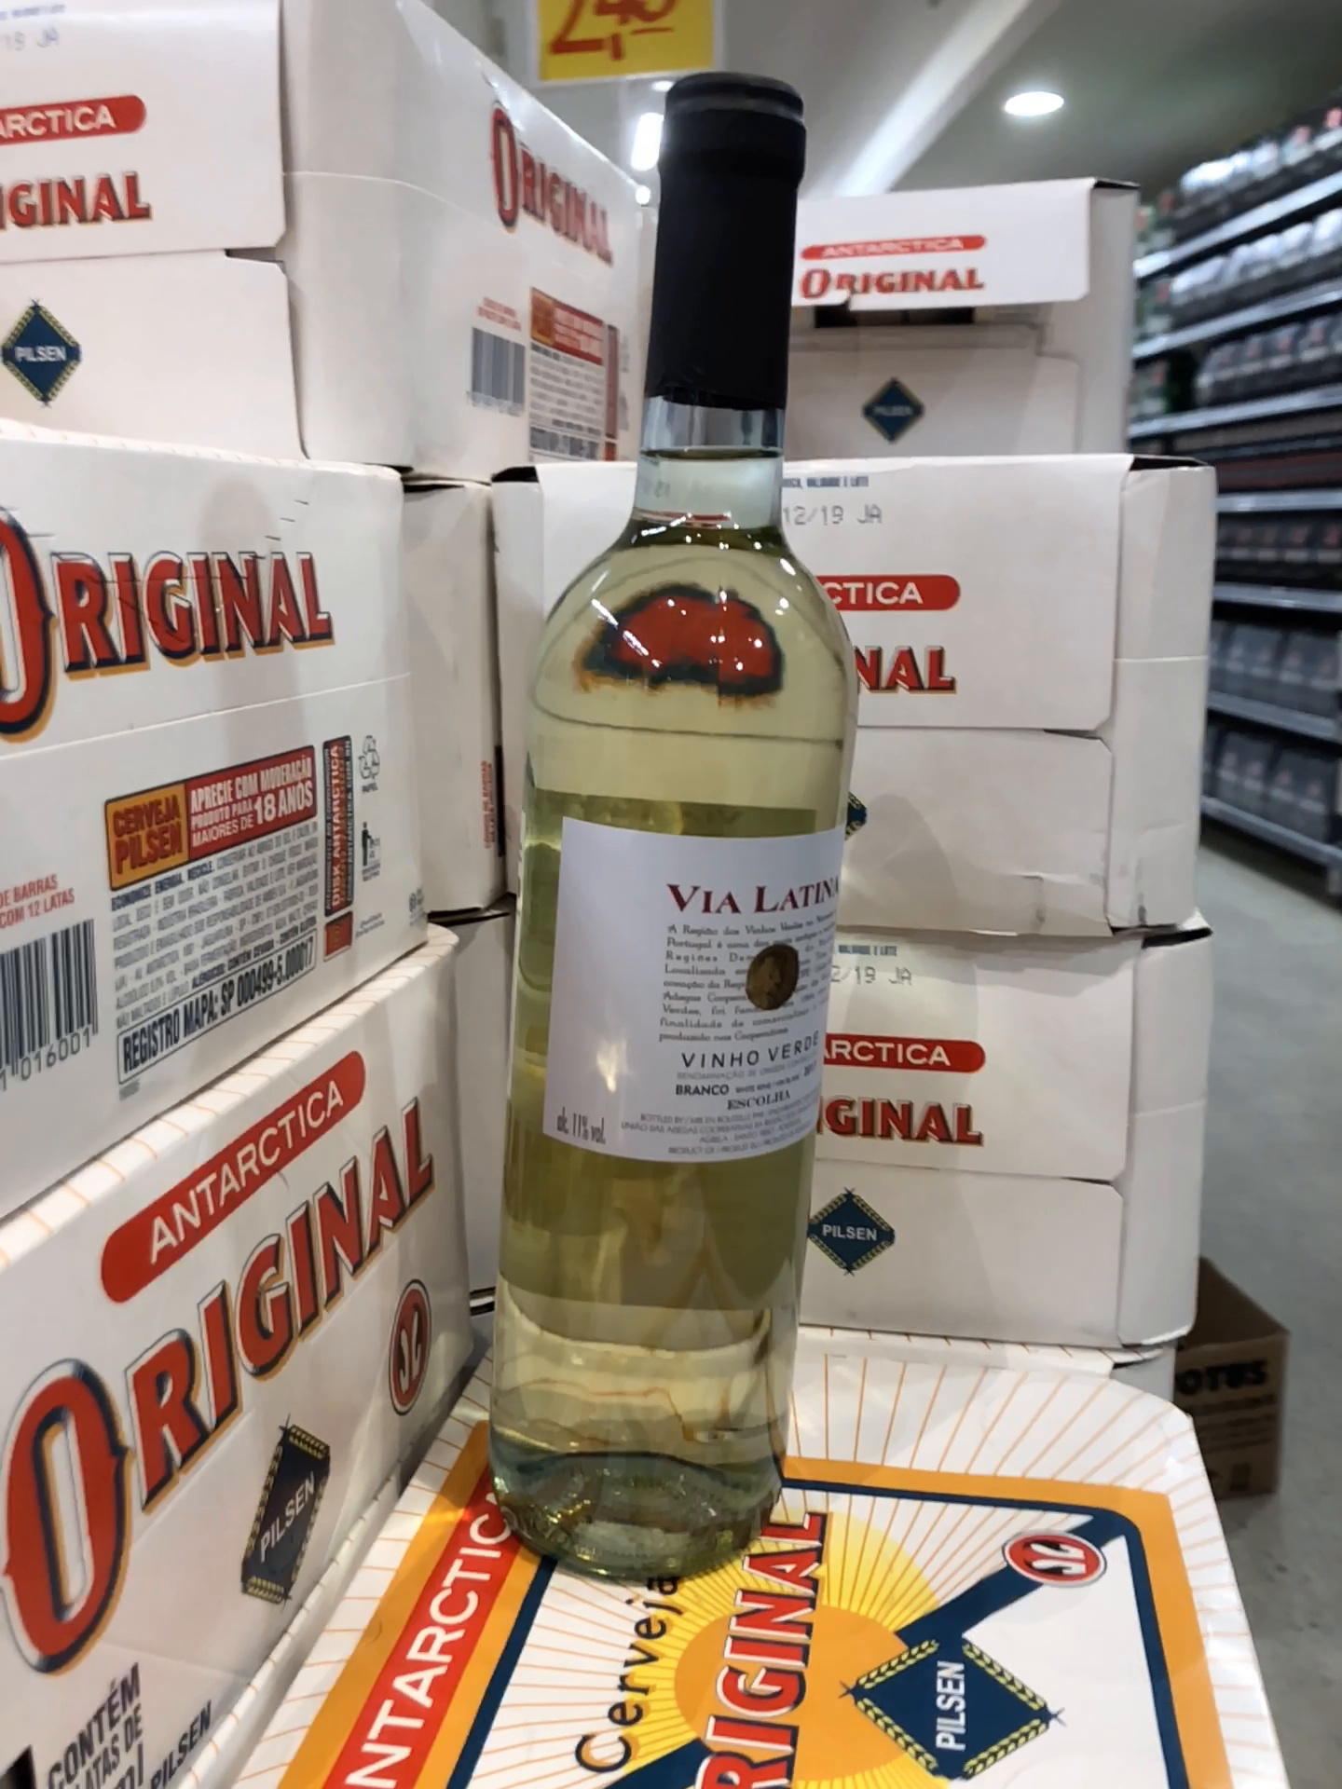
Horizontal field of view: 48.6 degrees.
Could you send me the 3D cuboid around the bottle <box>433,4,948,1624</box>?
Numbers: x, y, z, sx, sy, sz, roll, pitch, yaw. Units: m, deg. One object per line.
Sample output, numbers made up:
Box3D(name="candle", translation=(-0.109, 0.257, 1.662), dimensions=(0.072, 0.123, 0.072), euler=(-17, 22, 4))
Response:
Box3D(name="bottle", translation=(-0.001, -0.009, 0.330), dimensions=(0.080, 0.309, 0.070), euler=(-5, 13, -29))
